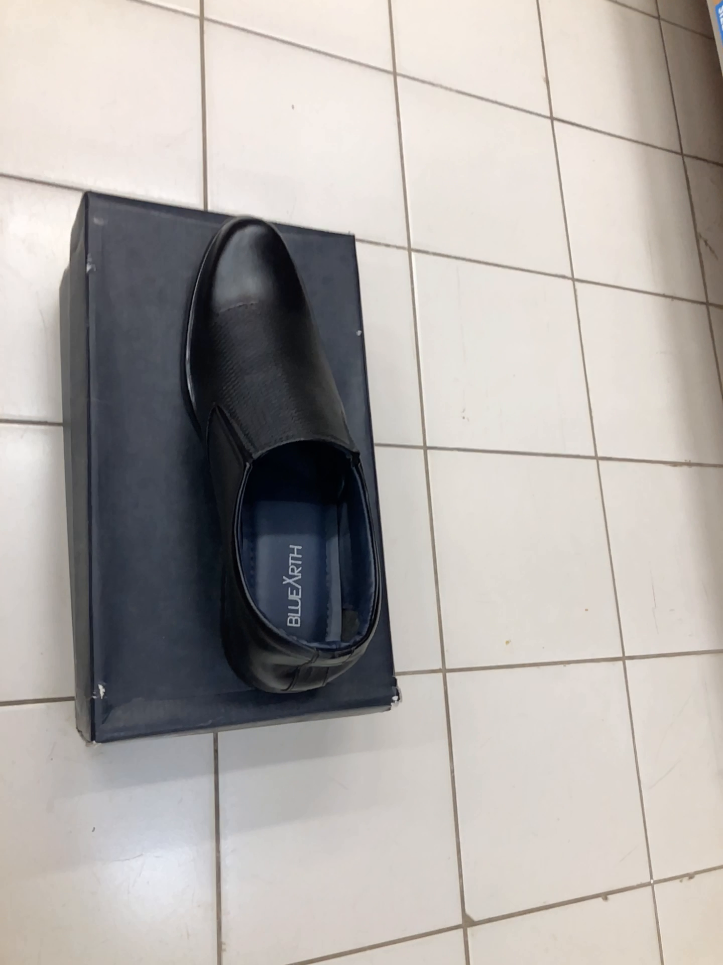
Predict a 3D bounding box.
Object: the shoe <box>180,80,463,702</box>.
[{"bbox_3d":[-0.037,-0.047,0.494,0.100,0.129,0.340,-1,77,-26],"label":"shoe"}]
